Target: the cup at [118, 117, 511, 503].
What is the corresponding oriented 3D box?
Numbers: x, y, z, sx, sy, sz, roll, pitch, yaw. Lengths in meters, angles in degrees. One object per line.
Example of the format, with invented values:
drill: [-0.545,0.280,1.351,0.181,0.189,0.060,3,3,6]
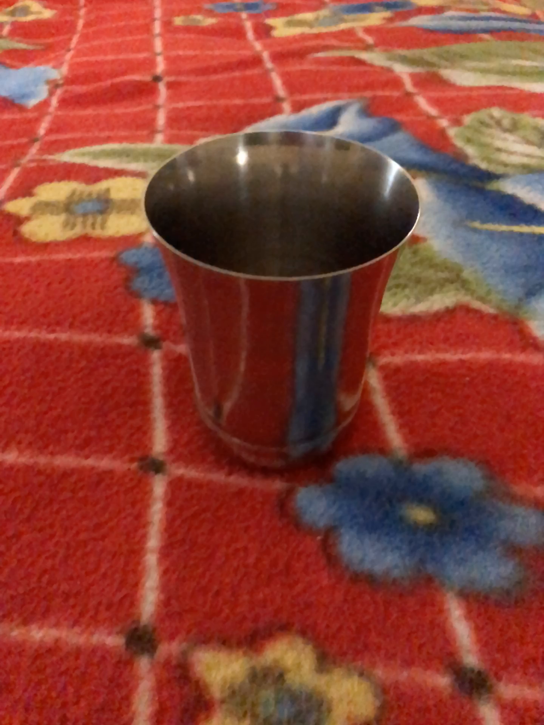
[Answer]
cup: [0.008,-0.017,0.201,0.089,0.090,0.087,2,43,-2]
